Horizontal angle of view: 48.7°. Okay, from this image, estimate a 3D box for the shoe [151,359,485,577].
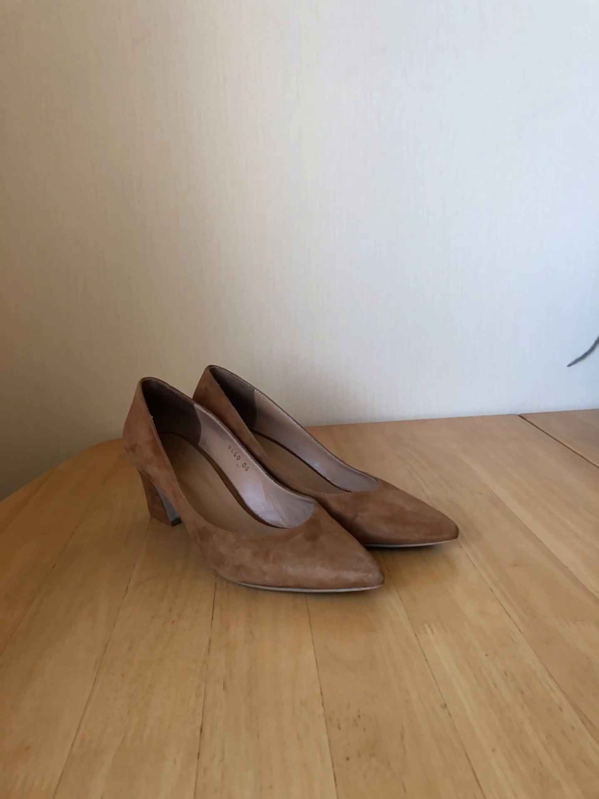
[{"bbox_3d":[0.007,0.039,0.535,0.260,0.110,0.089,8,17,36],"label":"shoe"}]

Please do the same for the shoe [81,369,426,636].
[{"bbox_3d":[-0.043,0.053,0.472,0.250,0.110,0.089,10,19,41],"label":"shoe"}]
